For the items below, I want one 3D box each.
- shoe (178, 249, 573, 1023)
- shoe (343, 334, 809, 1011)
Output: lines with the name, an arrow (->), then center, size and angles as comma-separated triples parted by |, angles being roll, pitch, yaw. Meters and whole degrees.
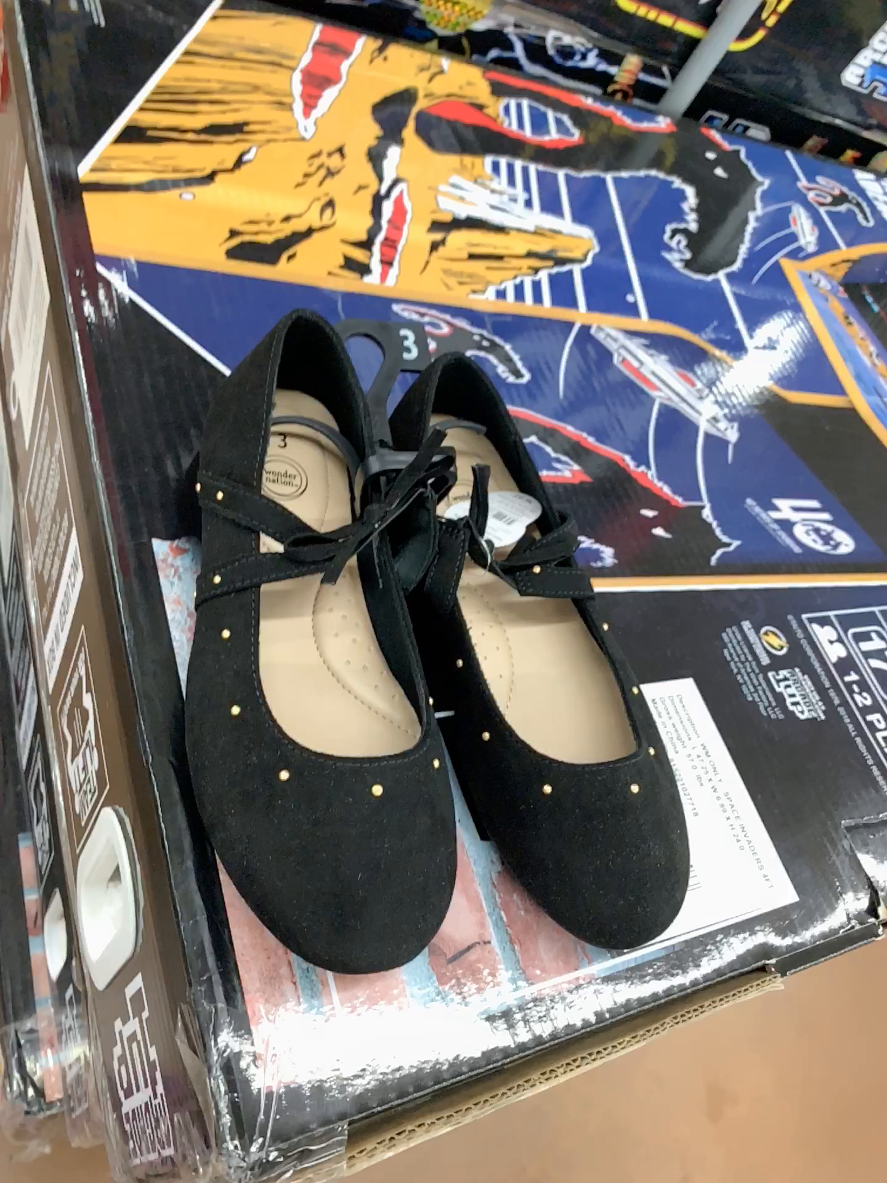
shoe -> -0.037, 0.005, 0.311 | 0.090, 0.070, 0.240 | 5, 59, -25
shoe -> 0.039, 0.020, 0.371 | 0.090, 0.070, 0.250 | -2, 62, -29
